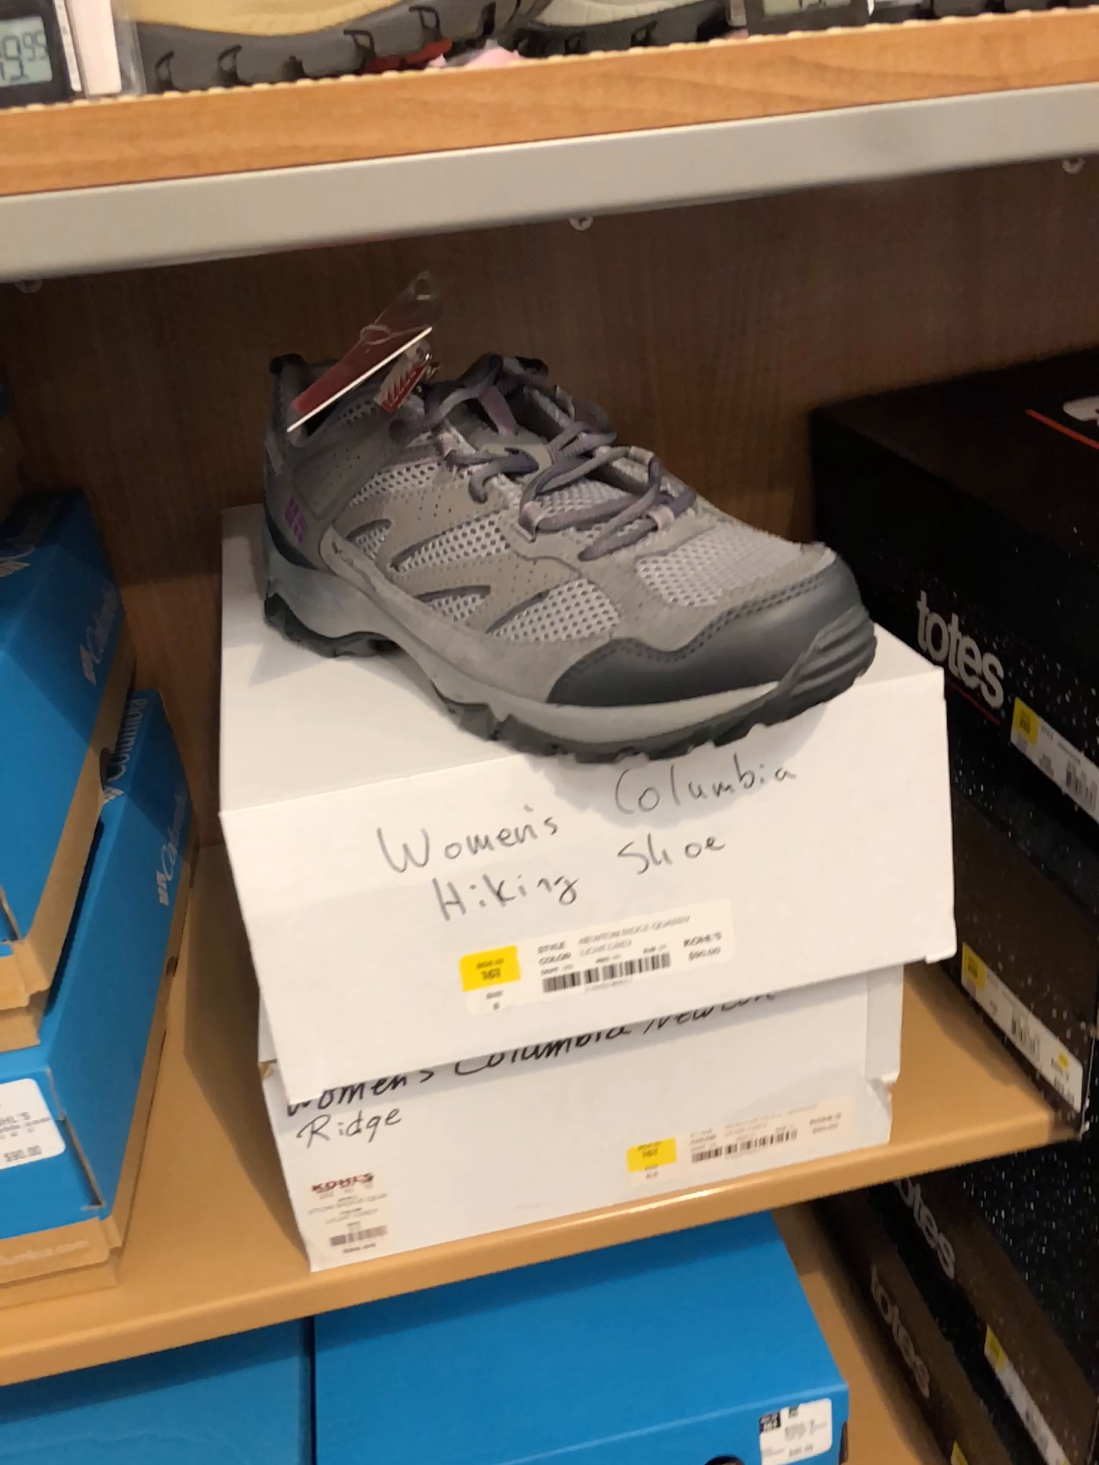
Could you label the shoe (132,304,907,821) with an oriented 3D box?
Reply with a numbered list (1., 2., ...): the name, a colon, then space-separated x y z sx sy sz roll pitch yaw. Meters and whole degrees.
1. shoe: -0.022 -0.081 0.436 0.268 0.114 0.104 20 37 40
